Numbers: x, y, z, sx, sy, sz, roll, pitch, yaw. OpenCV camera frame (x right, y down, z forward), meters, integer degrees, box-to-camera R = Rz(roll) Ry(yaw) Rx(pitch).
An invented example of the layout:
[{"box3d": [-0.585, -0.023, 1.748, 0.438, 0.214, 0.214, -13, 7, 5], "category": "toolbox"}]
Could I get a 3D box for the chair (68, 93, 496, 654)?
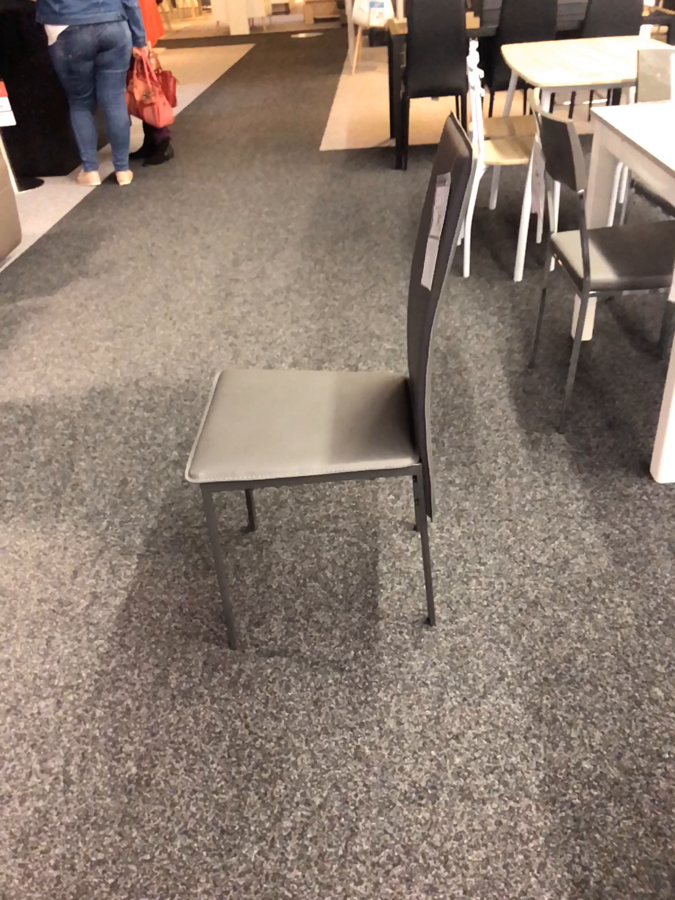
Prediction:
[{"box3d": [-0.036, -0.114, 1.413, 0.560, 0.935, 0.473, -2, 34, 4], "category": "chair"}]
